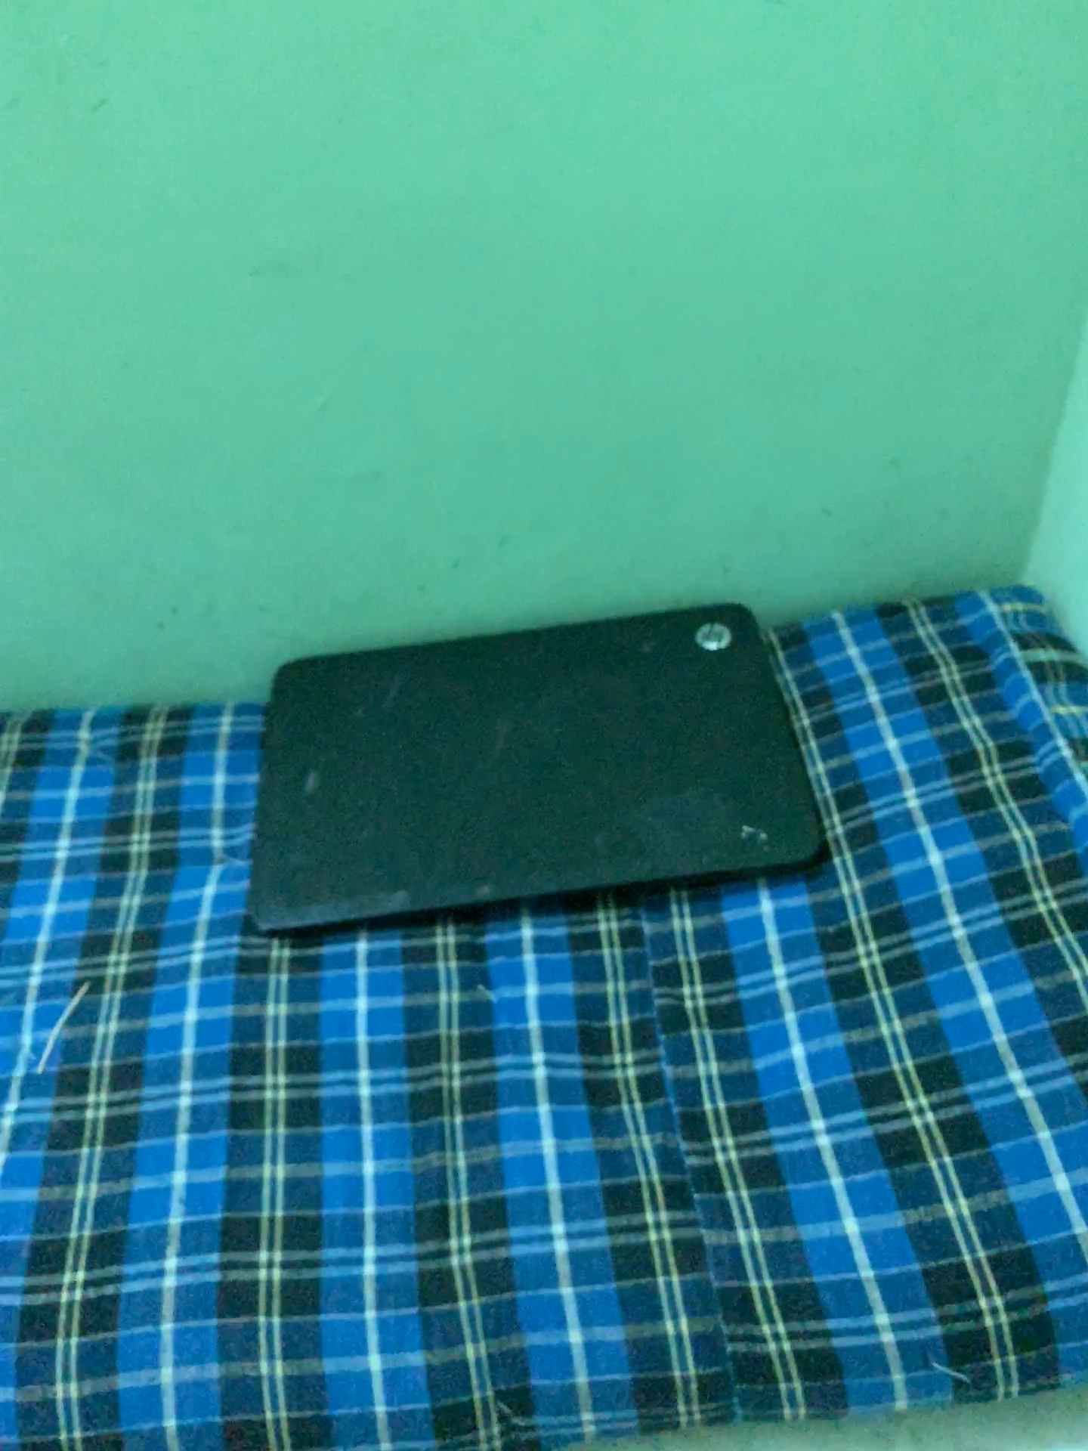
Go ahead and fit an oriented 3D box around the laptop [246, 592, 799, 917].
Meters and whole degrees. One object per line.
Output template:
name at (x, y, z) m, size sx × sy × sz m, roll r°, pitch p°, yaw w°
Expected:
laptop at (-0.022, 0.011, 0.776) m, size 0.346 × 0.018 × 0.218 m, roll -8°, pitch 49°, yaw 1°
